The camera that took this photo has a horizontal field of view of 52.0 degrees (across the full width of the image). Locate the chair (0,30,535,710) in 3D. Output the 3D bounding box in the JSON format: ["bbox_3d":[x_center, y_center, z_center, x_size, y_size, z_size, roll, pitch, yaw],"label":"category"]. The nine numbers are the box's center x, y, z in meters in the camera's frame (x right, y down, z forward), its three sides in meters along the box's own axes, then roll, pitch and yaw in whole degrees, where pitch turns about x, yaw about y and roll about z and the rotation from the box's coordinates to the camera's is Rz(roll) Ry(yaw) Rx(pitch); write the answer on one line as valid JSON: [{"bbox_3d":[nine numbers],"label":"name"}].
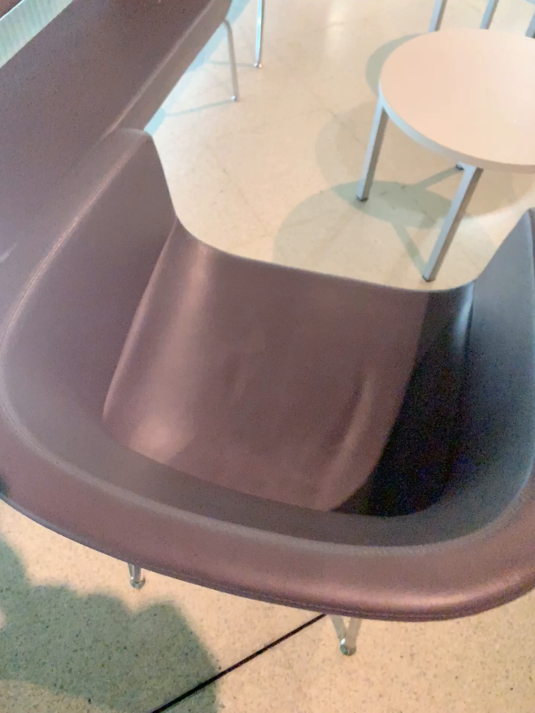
[{"bbox_3d":[-0.003,0.051,0.947,0.730,0.715,0.755,15,57,8],"label":"chair"}]
